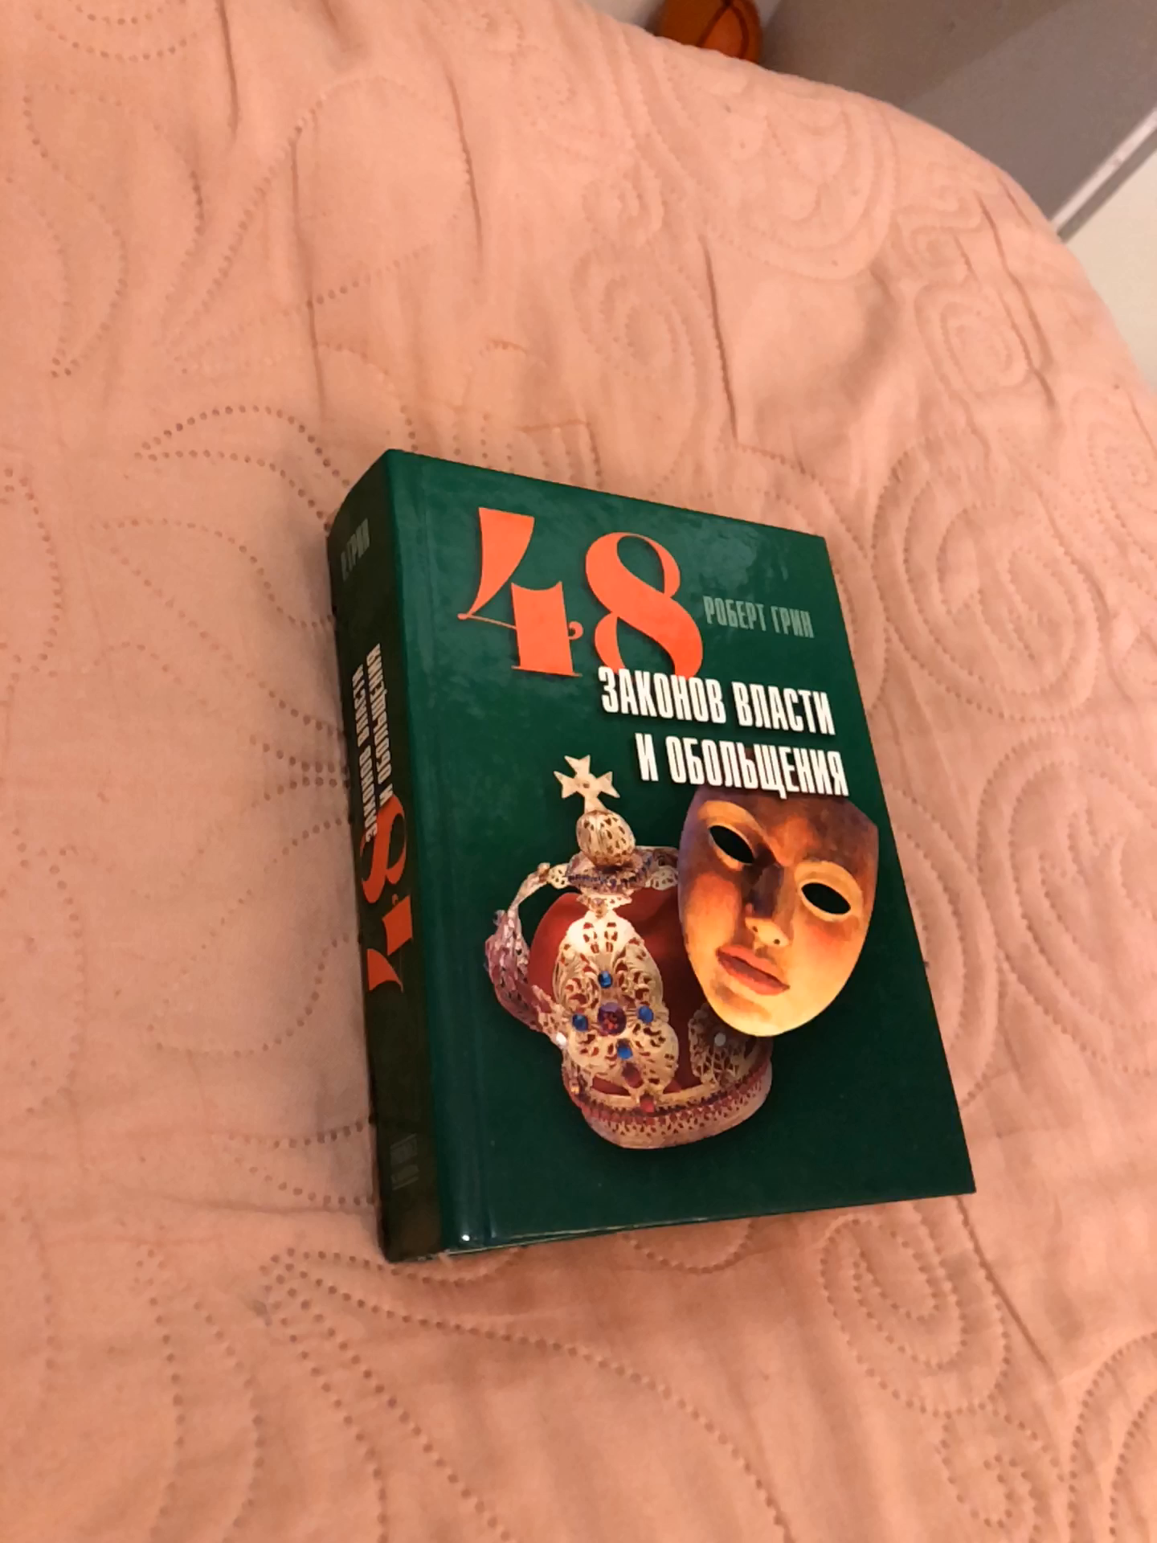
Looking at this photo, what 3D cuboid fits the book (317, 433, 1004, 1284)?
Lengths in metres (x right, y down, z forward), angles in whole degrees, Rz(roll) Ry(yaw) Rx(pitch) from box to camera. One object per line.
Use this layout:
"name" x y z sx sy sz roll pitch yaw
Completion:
"book" 0.012 0.014 0.246 0.110 0.032 0.143 5 63 -30
